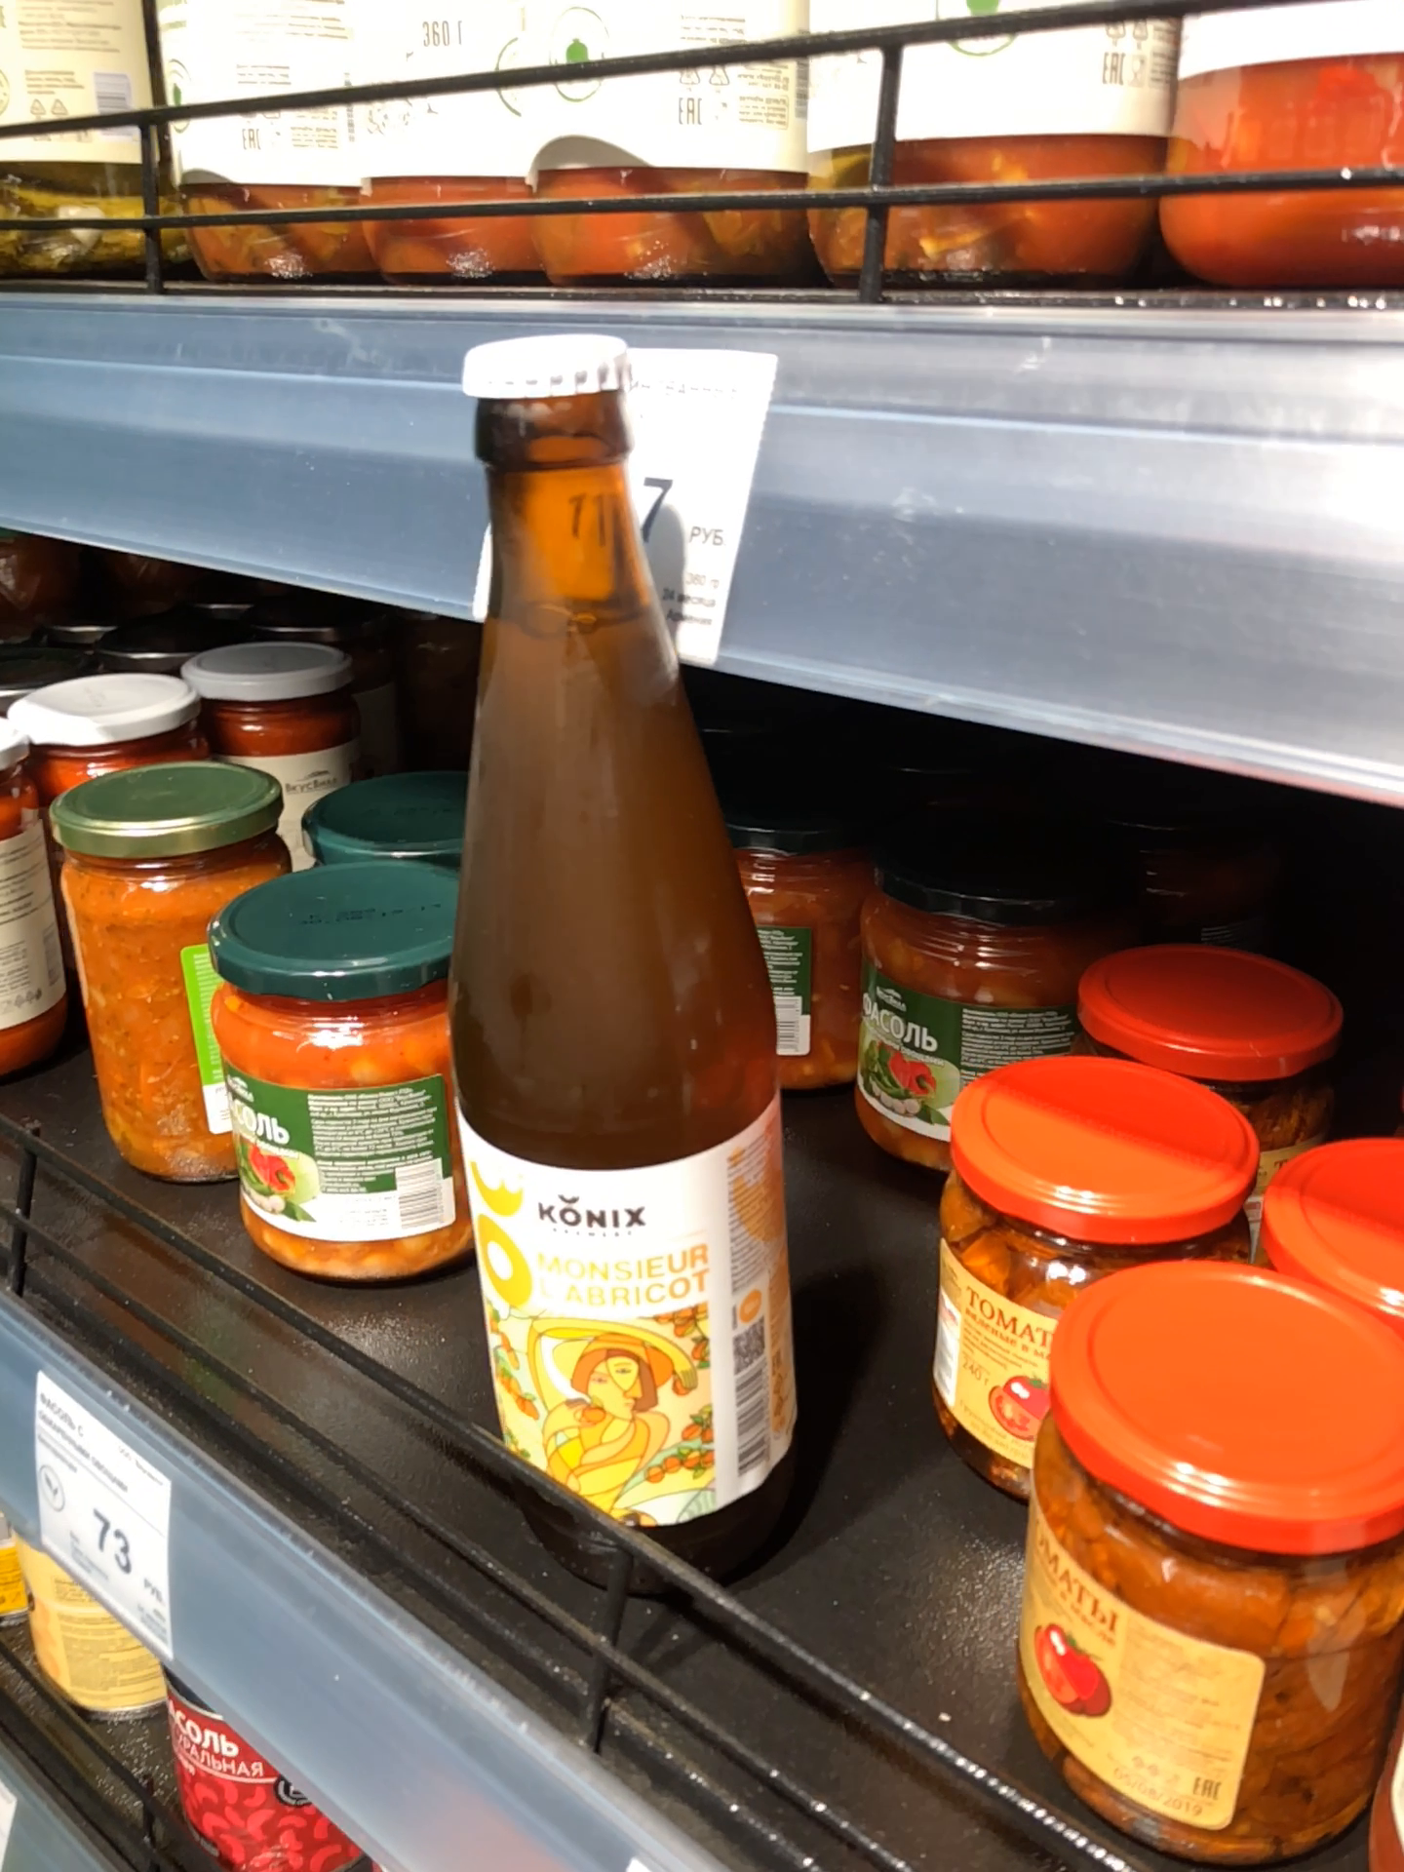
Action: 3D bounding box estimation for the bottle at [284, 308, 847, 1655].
[{"bbox_3d":[-0.014,0.014,0.301,0.070,0.249,0.070,-2,24,1],"label":"bottle"}]
